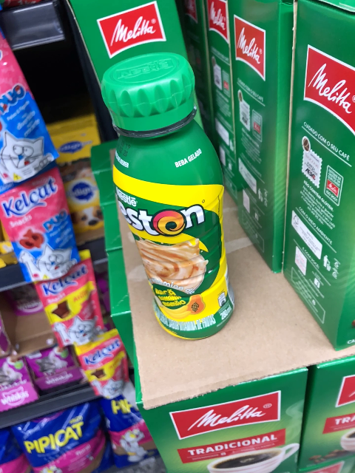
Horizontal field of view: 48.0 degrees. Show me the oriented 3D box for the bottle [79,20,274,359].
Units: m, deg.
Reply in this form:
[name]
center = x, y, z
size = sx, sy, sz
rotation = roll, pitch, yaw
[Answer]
[bottle]
center = 0.012, -0.016, 0.229
size = 0.060, 0.179, 0.060
rotation = -6, 41, 5
